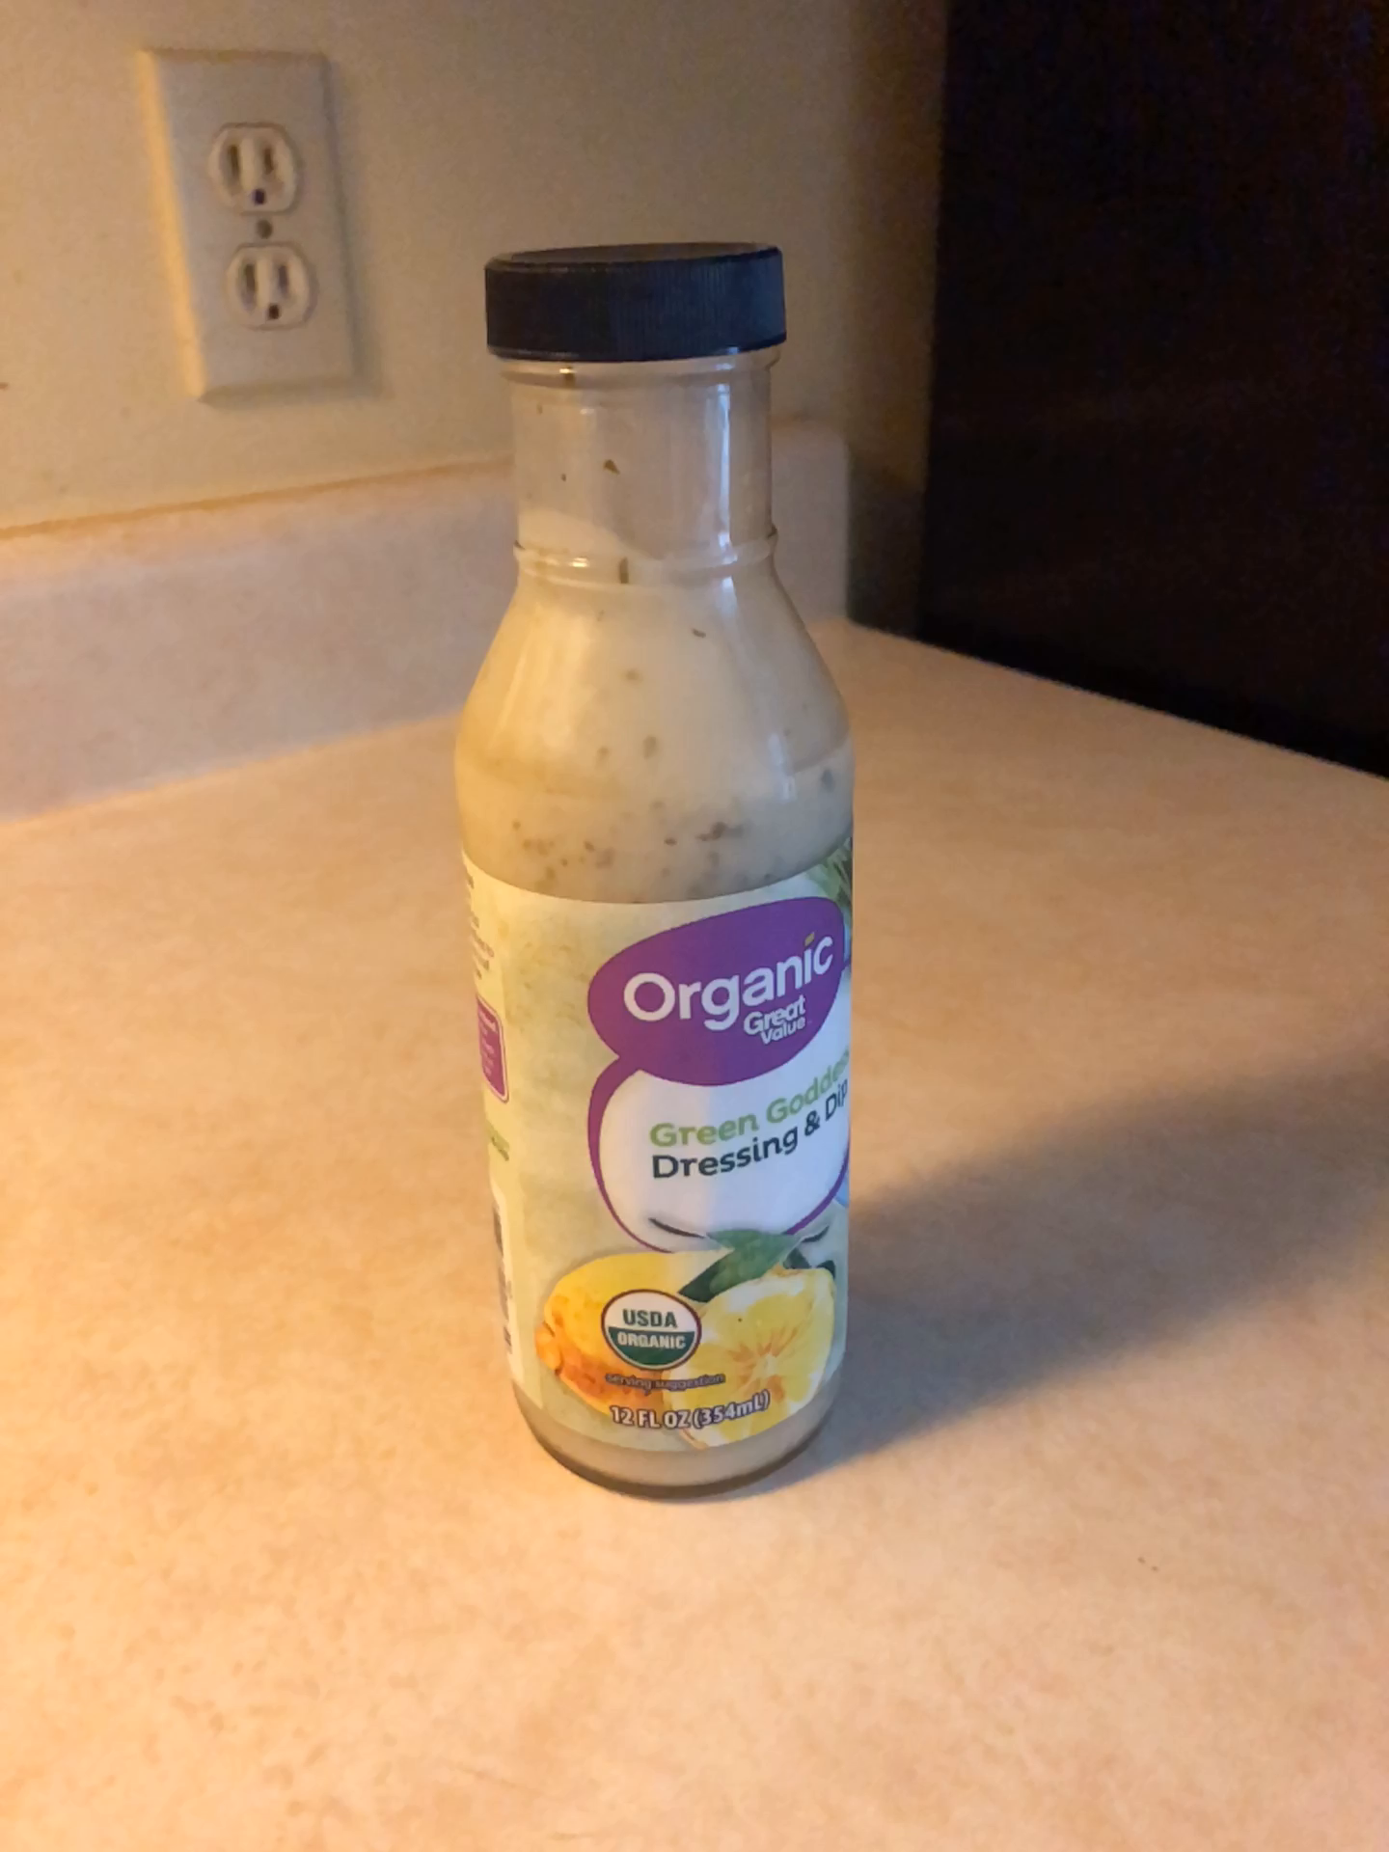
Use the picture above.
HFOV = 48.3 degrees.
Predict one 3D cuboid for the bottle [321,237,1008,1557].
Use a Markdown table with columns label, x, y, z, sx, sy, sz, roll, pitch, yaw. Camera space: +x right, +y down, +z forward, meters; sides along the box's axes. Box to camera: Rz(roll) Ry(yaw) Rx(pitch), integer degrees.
| label | x | y | z | sx | sy | sz | roll | pitch | yaw |
| --- | --- | --- | --- | --- | --- | --- | --- | --- | --- |
| bottle | -0.005 | -0.005 | 0.249 | 0.070 | 0.189 | 0.070 | -1 | 26 | 1 |
